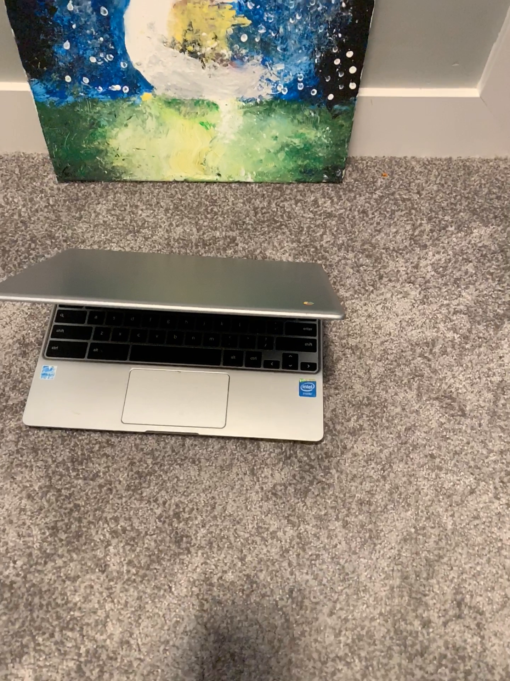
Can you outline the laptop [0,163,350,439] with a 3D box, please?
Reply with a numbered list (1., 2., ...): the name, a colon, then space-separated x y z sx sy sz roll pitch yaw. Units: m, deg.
1. laptop: -0.074 -0.033 0.491 0.294 0.144 0.200 3 63 0
